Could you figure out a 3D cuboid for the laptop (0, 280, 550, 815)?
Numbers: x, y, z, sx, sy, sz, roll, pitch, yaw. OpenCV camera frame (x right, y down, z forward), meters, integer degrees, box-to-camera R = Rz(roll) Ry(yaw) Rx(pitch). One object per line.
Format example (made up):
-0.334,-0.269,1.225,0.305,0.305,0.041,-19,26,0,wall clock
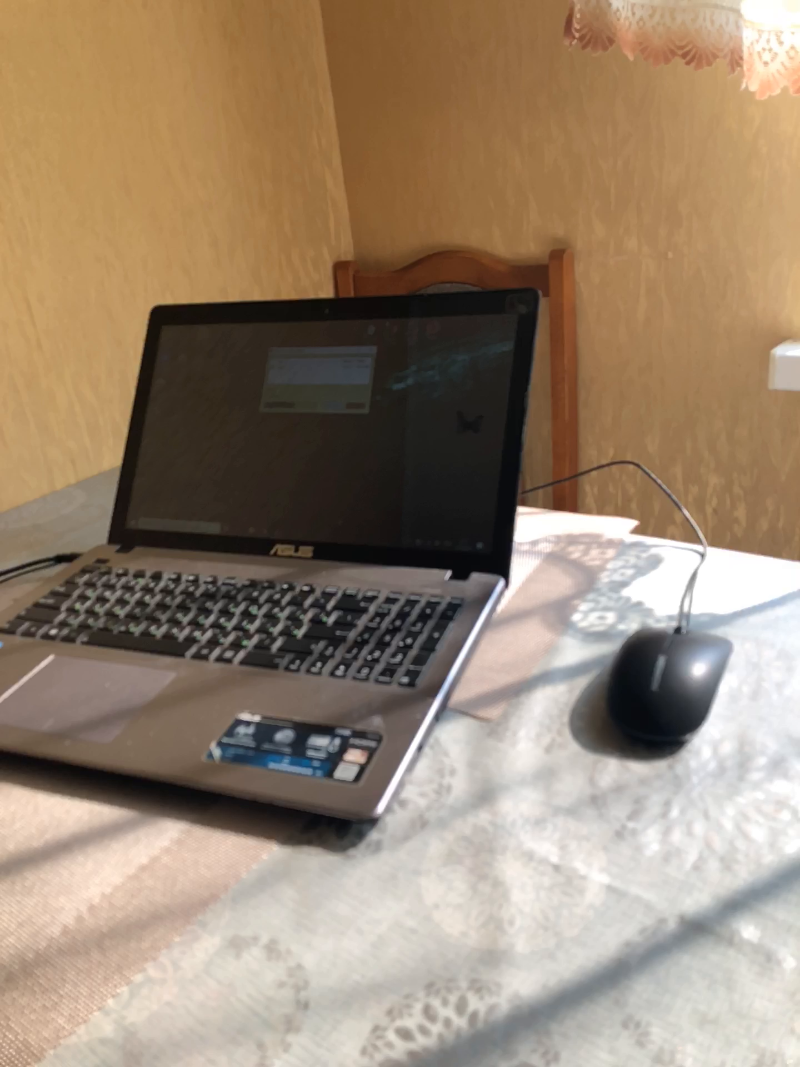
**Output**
-0.124,-0.041,0.640,0.378,0.183,0.399,4,28,22,laptop
